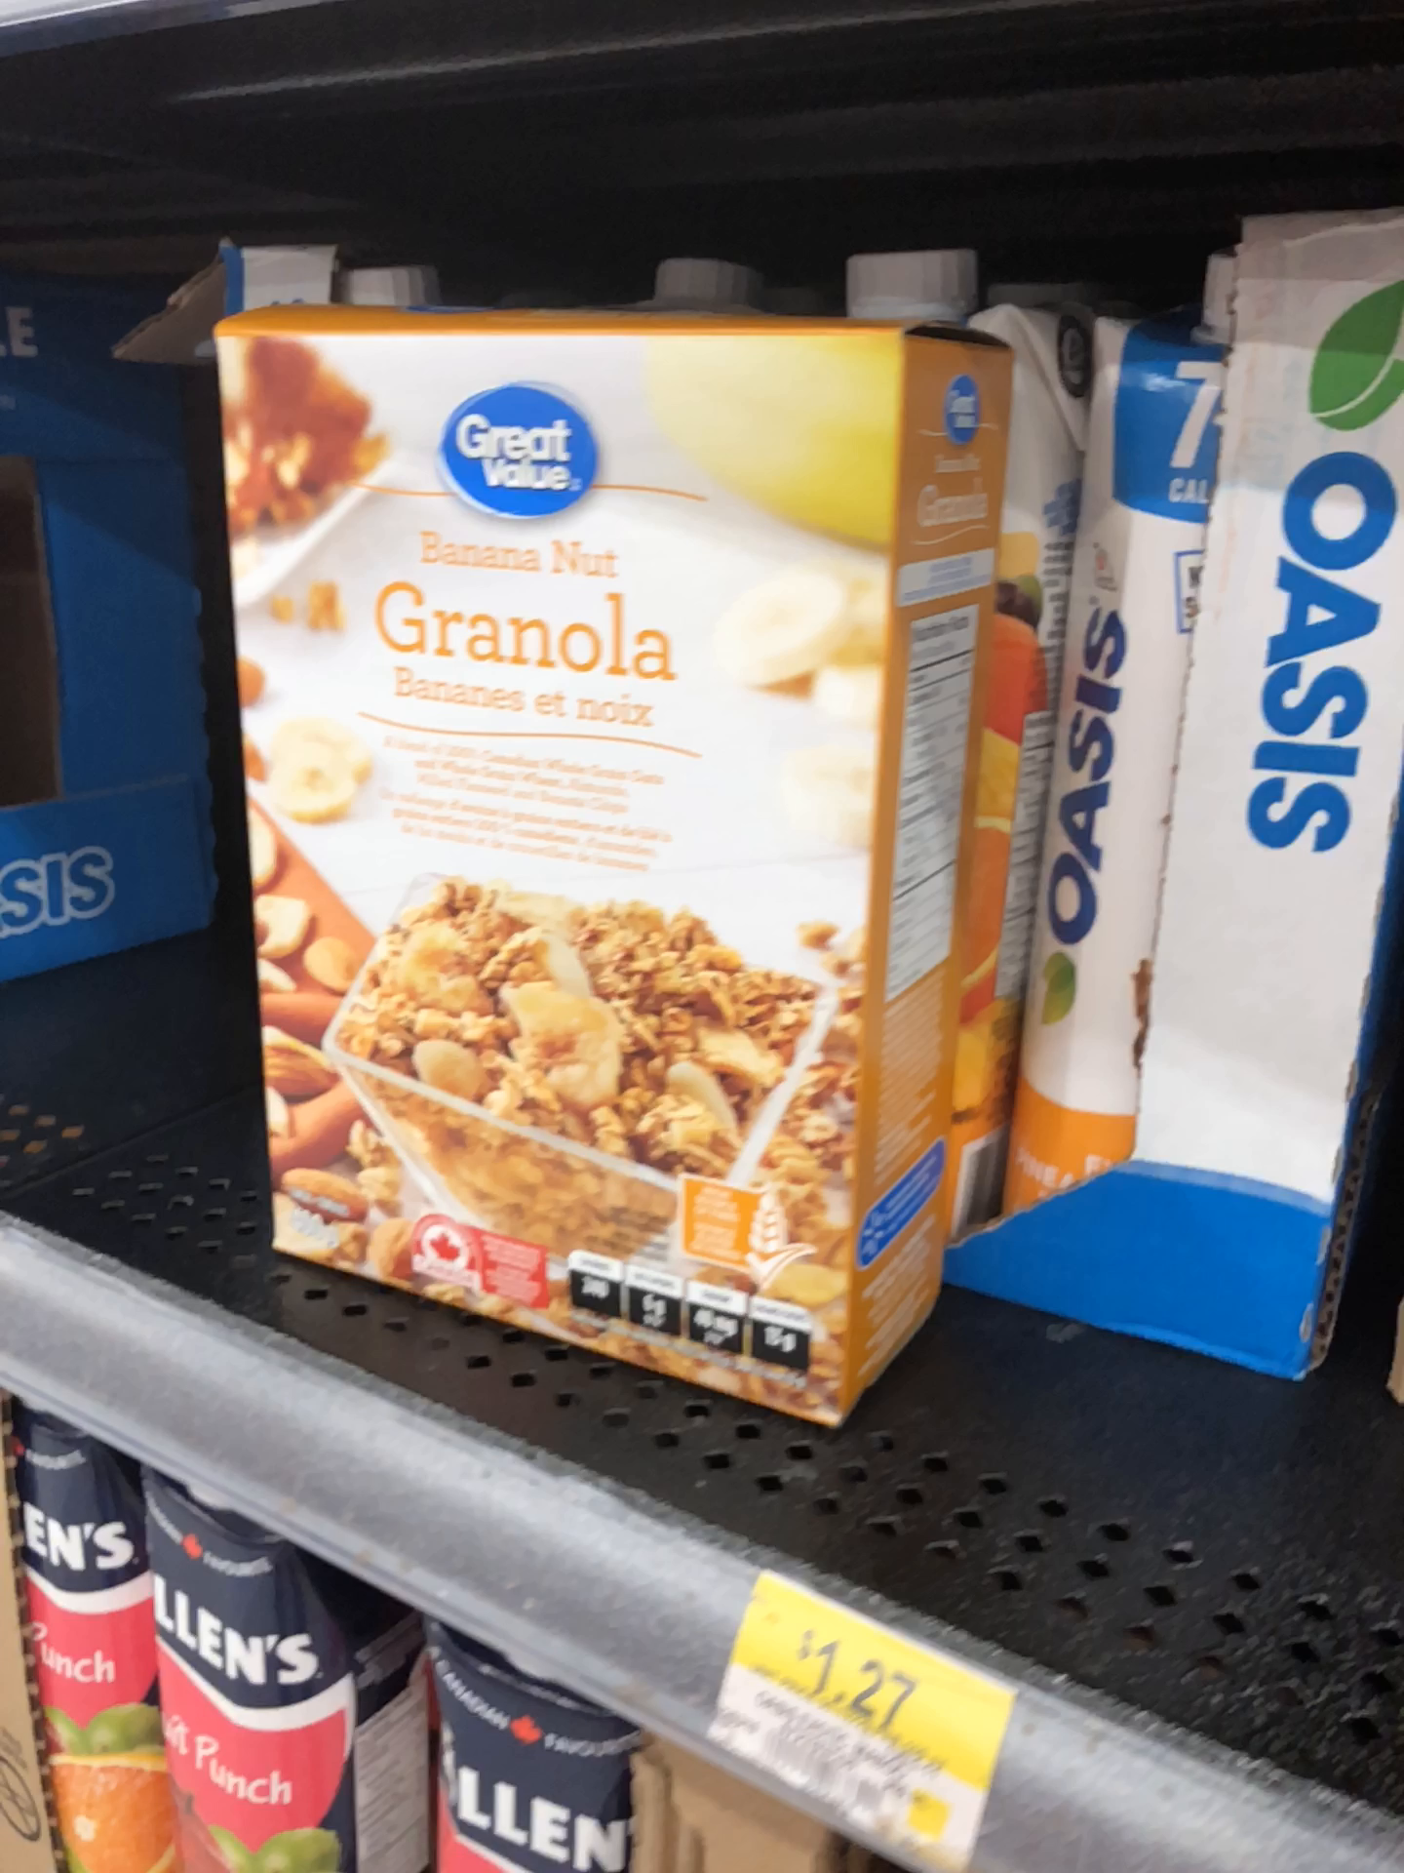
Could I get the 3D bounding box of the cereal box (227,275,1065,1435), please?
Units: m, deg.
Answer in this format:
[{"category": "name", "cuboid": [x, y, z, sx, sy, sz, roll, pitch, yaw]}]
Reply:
[{"category": "cereal box", "cuboid": [-0.017, -0.024, 0.349, 0.160, 0.219, 0.060, 10, 18, 25]}]
